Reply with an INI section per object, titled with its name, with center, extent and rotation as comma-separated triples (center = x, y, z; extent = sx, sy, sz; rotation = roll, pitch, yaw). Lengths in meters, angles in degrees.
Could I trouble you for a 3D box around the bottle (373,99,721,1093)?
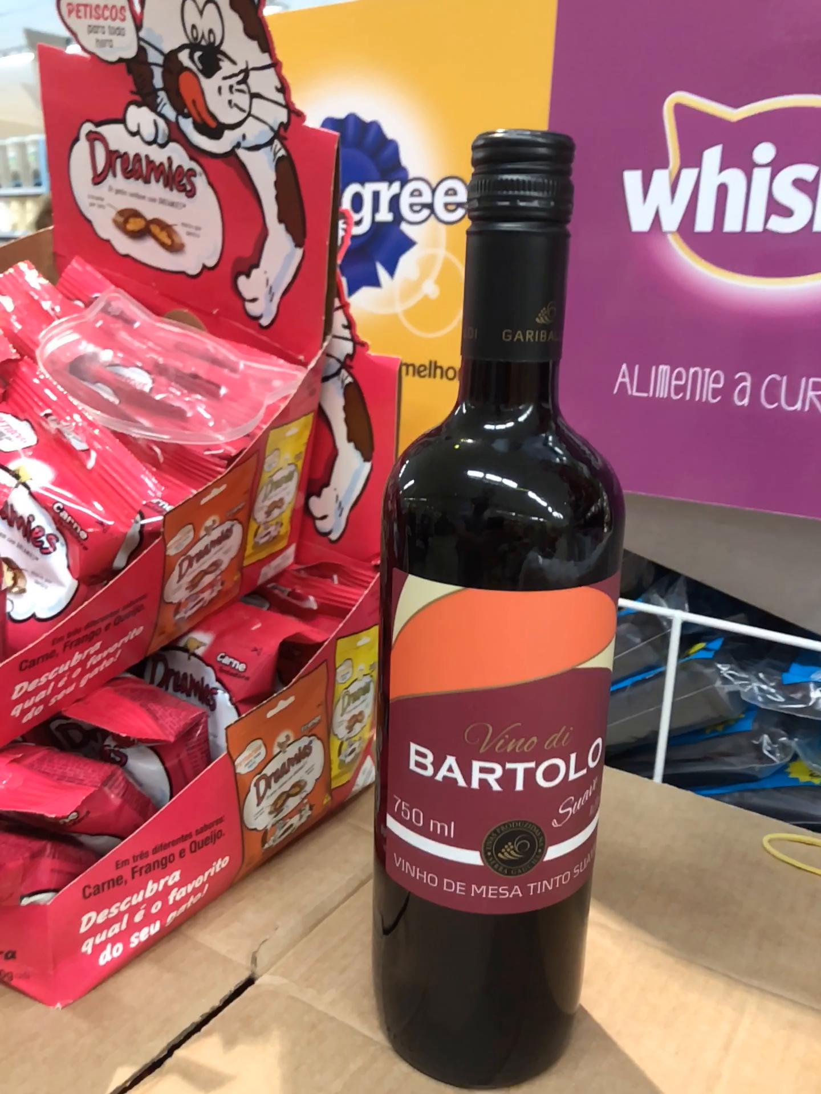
[bottle]
center = 0.031, 0.028, 0.290
extent = 0.080, 0.298, 0.060
rotation = 0, 15, -5
